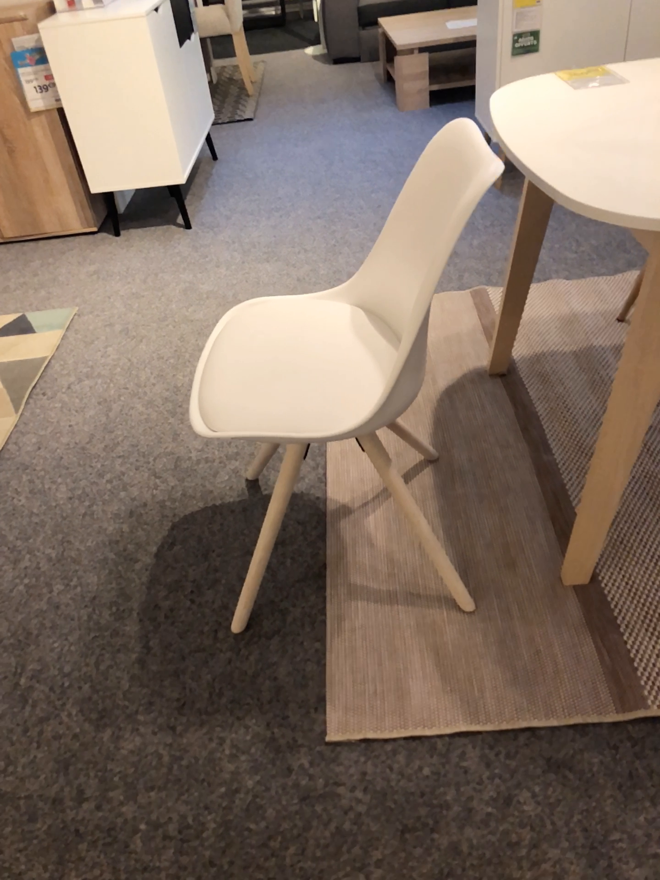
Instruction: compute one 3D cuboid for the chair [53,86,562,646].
[{"bbox_3d":[0.005,-0.121,1.277,0.590,0.756,0.553,-5,38,3],"label":"chair"}]
